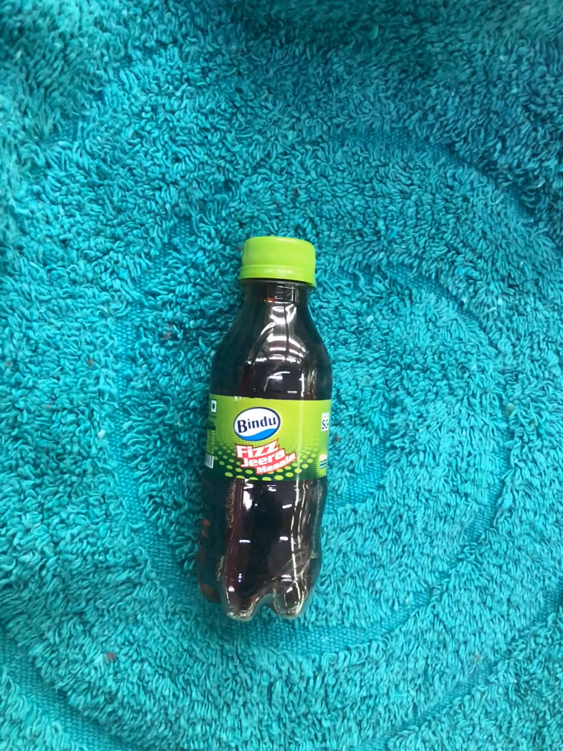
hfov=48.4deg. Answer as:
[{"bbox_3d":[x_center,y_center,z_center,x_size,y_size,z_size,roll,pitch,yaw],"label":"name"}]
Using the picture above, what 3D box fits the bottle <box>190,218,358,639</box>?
[{"bbox_3d":[-0.007,0.020,0.249,0.050,0.050,0.150,3,95,-8],"label":"bottle"}]
